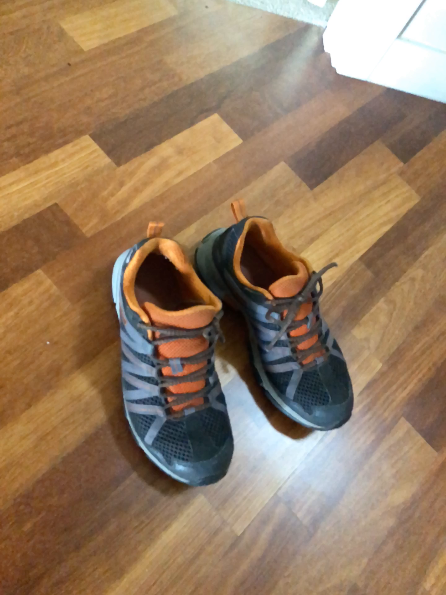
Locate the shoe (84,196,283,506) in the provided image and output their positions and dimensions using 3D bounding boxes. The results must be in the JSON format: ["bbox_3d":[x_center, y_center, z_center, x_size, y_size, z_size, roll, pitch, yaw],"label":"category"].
[{"bbox_3d":[-0.057,0.051,0.507,0.113,0.117,0.282,-11,70,-22],"label":"shoe"}]

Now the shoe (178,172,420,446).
[{"bbox_3d":[0.076,0.012,0.574,0.119,0.117,0.279,-25,76,-26],"label":"shoe"}]
